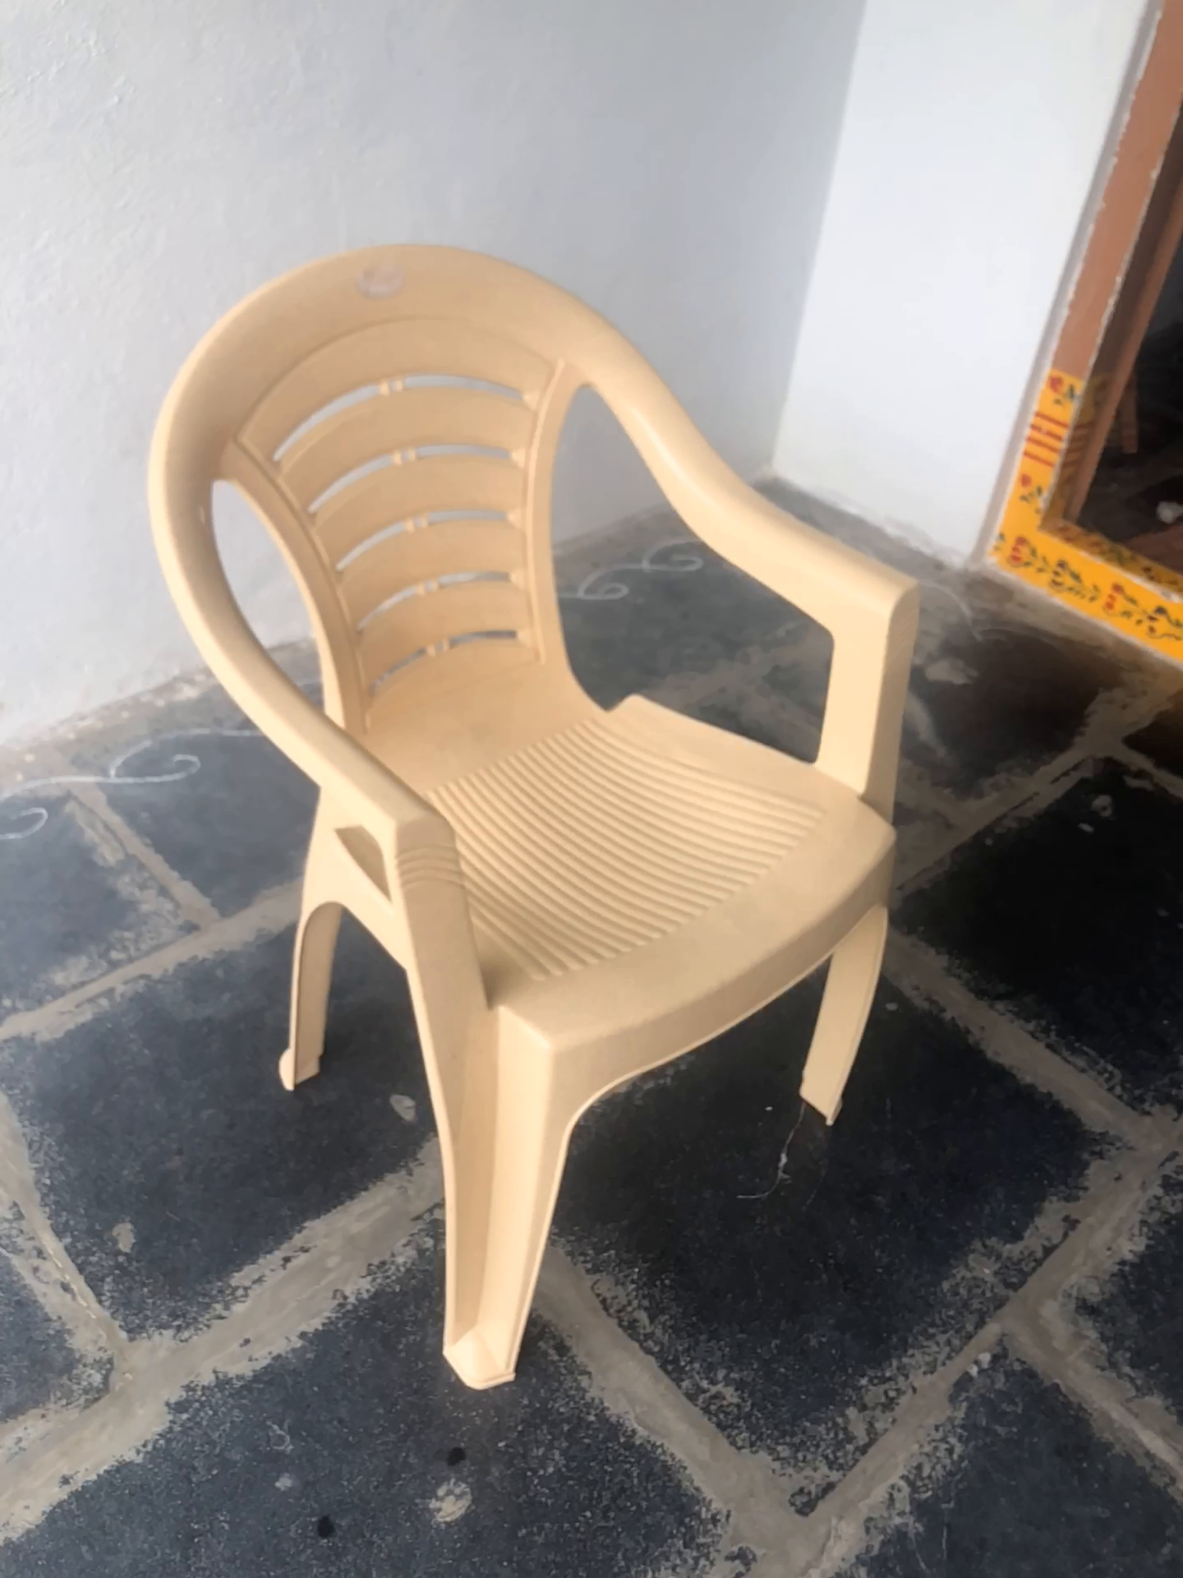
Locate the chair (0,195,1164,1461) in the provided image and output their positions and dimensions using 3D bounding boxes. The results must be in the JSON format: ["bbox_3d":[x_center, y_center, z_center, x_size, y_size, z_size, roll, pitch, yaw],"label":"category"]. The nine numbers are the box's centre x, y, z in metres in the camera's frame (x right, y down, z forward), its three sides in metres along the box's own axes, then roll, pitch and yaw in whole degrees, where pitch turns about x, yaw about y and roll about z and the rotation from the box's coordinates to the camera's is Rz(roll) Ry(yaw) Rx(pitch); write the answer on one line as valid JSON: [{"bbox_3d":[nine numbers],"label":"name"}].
[{"bbox_3d":[-0.048,-0.027,1.181,0.651,0.736,0.623,33,45,30],"label":"chair"}]
